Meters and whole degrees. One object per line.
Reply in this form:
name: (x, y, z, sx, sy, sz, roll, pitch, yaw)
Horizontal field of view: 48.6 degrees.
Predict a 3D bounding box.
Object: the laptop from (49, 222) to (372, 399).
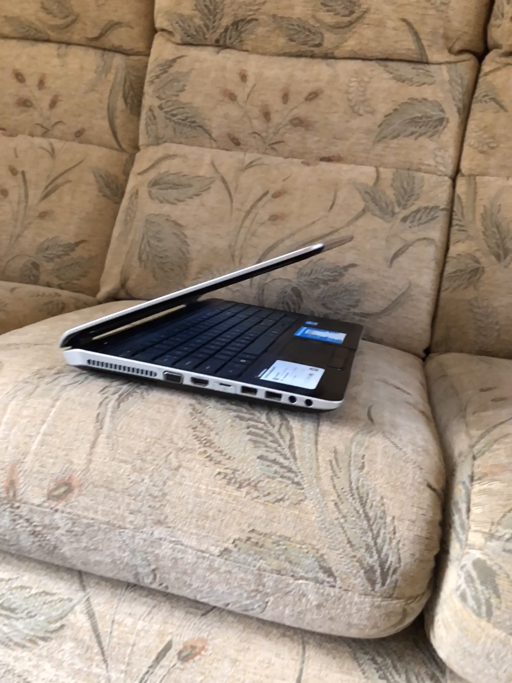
laptop: (-0.006, -0.064, 0.656, 0.254, 0.113, 0.398, 9, 14, 11)
